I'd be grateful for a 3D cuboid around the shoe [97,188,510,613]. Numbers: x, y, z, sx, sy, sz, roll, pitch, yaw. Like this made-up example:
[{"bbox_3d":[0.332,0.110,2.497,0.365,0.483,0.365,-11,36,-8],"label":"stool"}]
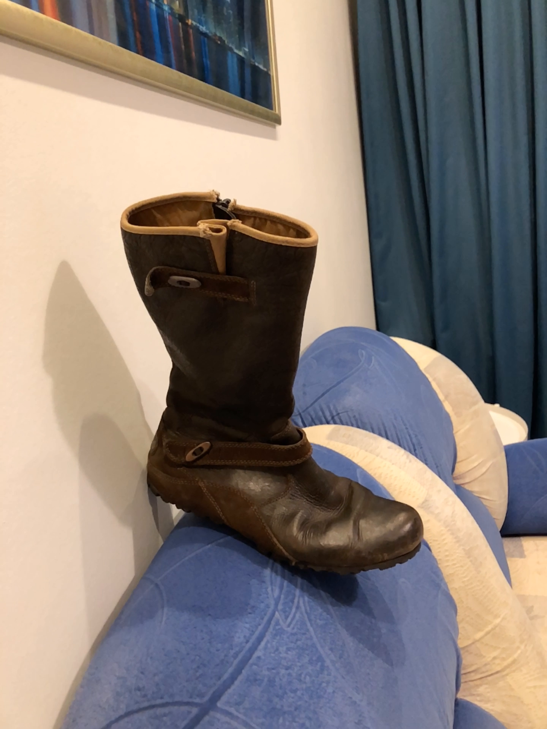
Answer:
[{"bbox_3d":[0.013,0.021,0.512,0.270,0.279,0.111,15,19,9],"label":"shoe"}]
